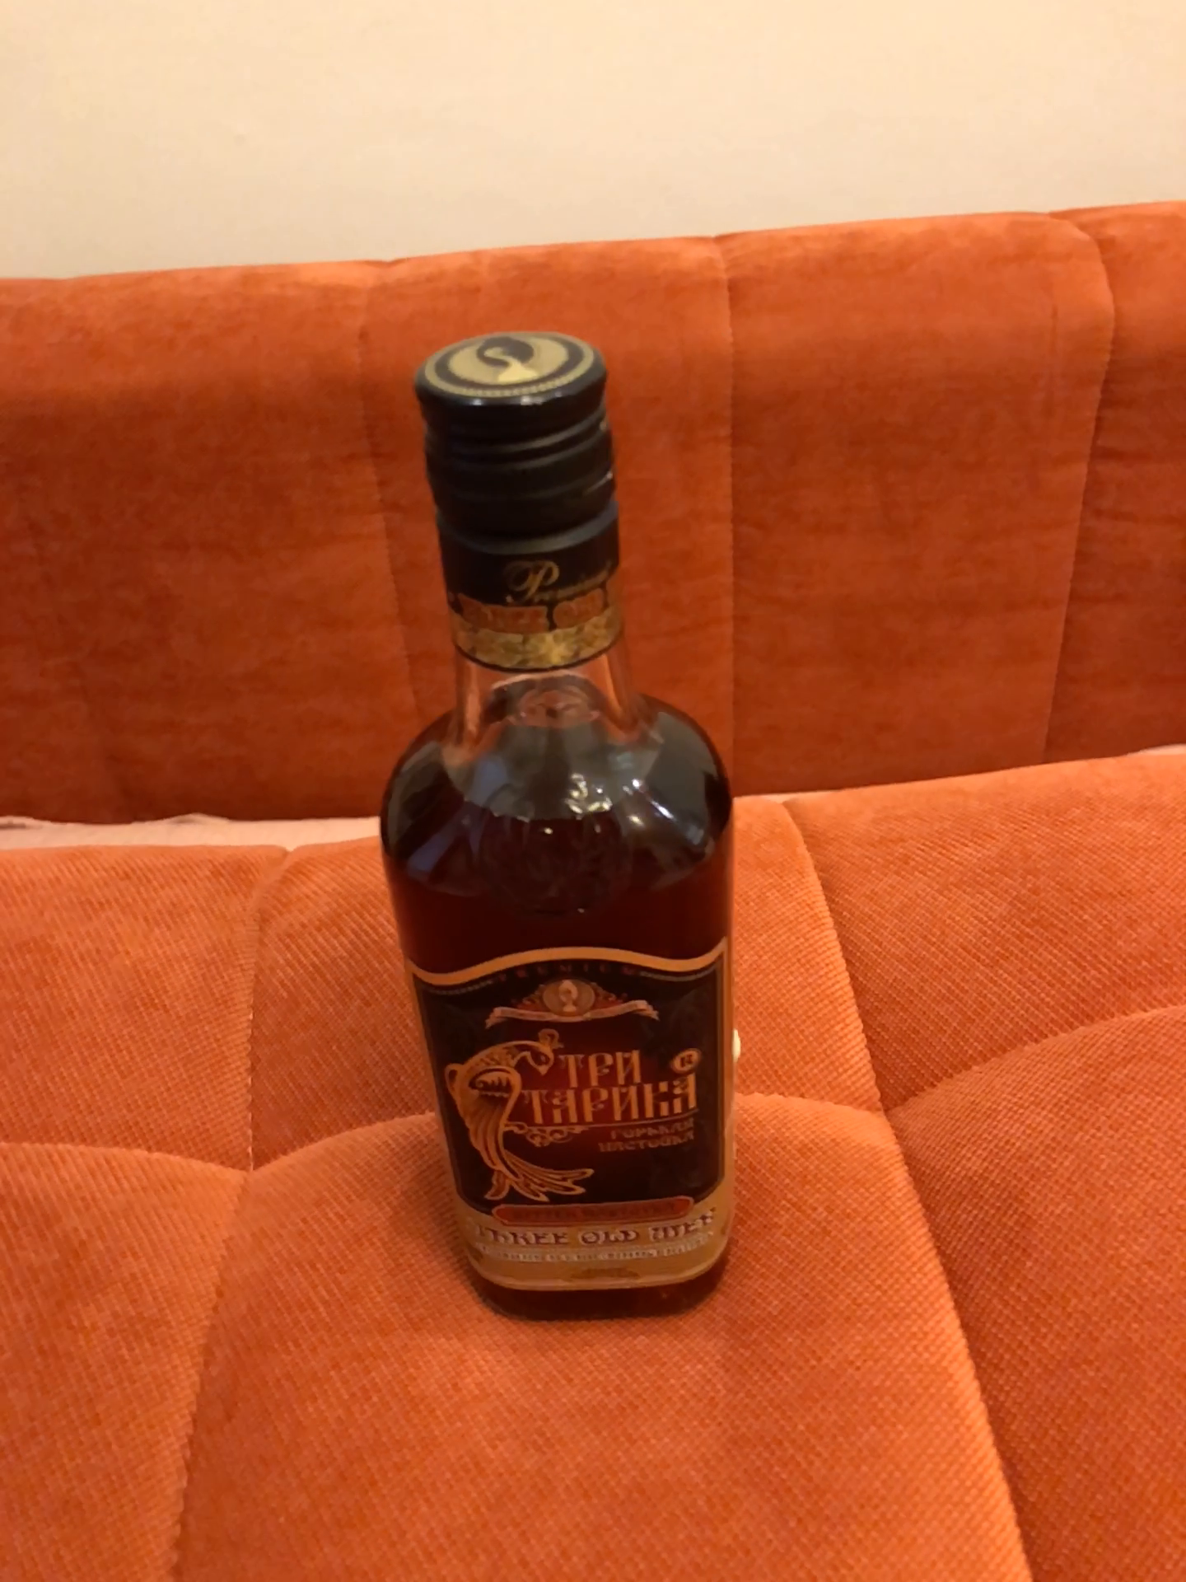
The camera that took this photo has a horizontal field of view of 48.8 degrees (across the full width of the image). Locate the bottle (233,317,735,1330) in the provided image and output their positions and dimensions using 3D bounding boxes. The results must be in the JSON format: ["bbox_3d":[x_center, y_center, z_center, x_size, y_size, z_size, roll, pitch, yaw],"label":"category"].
[{"bbox_3d":[-0.009,0.027,0.287,0.074,0.237,0.057,-3,38,2],"label":"bottle"}]
